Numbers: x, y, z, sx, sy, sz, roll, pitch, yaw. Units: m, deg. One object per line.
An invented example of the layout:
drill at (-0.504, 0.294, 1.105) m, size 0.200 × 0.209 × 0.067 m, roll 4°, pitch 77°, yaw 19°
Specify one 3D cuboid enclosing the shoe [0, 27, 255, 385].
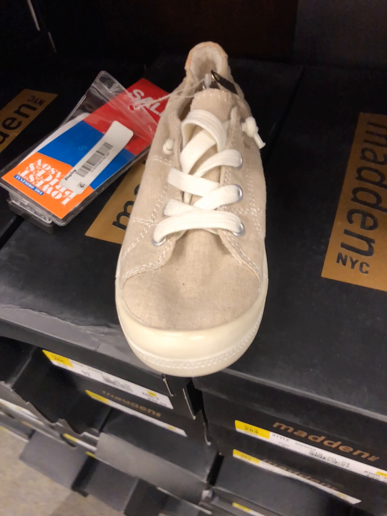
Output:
shoe at (-0.013, -0.046, 0.247) m, size 0.090 × 0.070 × 0.210 m, roll 2°, pitch 52°, yaw 8°
